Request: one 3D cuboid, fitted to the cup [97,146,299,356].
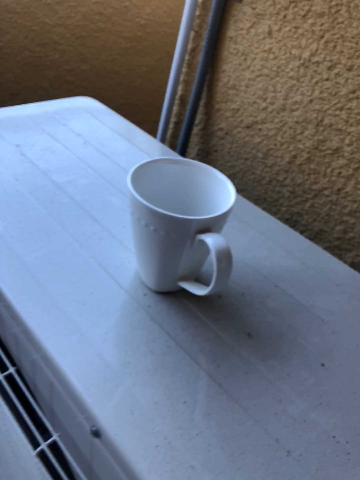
[{"bbox_3d":[0.004,0.000,0.357,0.100,0.100,0.140,-14,46,-30],"label":"cup"}]
